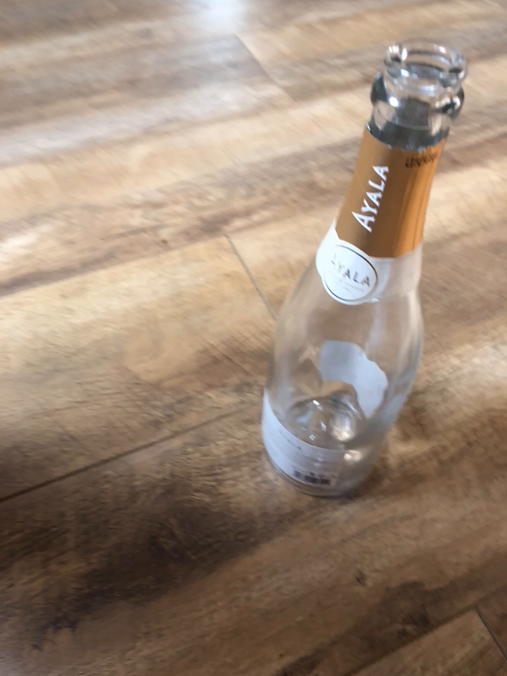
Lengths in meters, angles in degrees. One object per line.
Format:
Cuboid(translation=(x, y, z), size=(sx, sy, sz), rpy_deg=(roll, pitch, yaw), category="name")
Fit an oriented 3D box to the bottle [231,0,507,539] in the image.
Cuboid(translation=(0.052, -0.001, 0.307), size=(0.090, 0.298, 0.090), rpy_deg=(1, 53, -2), category="bottle")
